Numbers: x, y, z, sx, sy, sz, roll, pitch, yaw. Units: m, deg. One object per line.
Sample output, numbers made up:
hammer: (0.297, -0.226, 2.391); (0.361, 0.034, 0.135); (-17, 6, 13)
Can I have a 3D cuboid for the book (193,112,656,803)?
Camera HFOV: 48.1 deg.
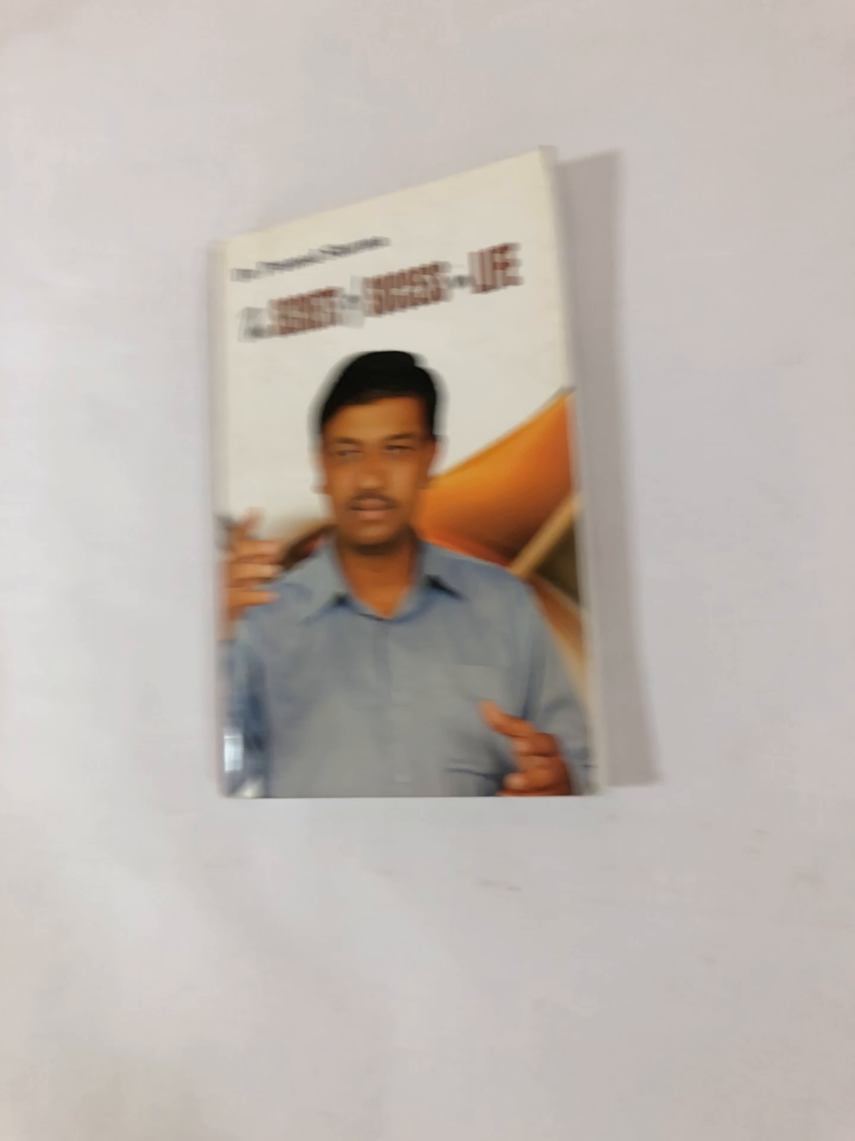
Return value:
book: (-0.010, -0.031, 0.324); (0.150, 0.020, 0.210); (-7, 80, 23)
